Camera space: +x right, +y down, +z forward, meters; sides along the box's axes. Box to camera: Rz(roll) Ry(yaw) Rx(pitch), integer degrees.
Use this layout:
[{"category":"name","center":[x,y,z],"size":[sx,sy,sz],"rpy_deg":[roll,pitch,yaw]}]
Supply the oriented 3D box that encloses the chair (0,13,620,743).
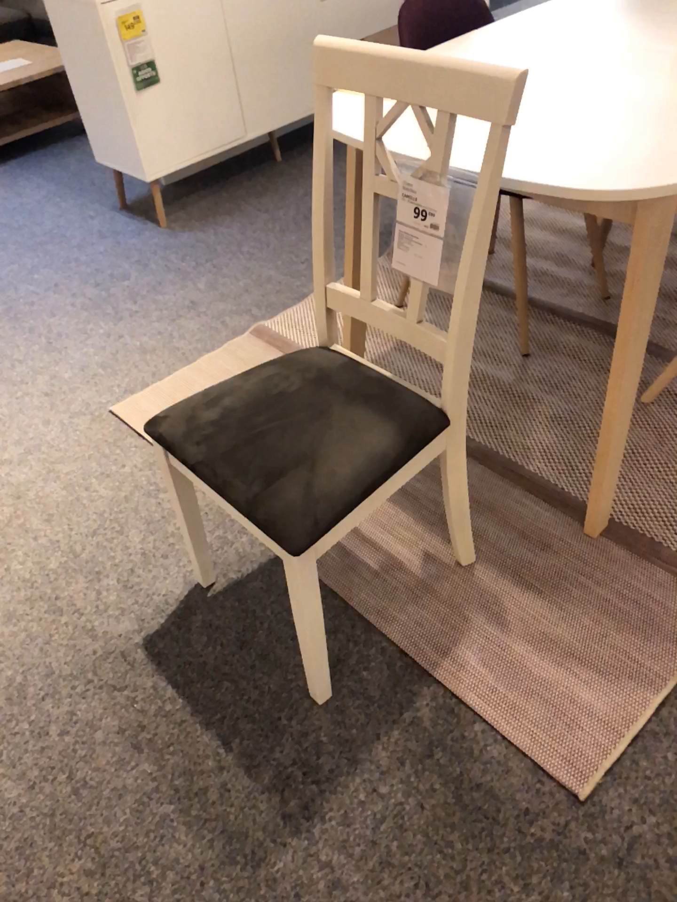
[{"category":"chair","center":[-0.005,-0.116,1.161],"size":[0.562,0.855,0.511],"rpy_deg":[-34,47,-26]}]
